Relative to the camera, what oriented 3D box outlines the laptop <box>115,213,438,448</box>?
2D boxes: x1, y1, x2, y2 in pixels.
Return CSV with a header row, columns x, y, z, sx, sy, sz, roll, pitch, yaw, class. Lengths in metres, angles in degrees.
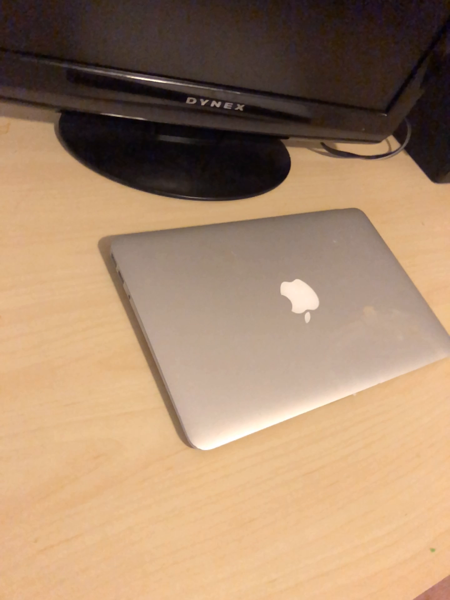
x,y,z,sx,sy,sz,roll,pitch,yaw,class
0.060,0.003,0.456,0.279,0.005,0.181,-12,63,-32,laptop
